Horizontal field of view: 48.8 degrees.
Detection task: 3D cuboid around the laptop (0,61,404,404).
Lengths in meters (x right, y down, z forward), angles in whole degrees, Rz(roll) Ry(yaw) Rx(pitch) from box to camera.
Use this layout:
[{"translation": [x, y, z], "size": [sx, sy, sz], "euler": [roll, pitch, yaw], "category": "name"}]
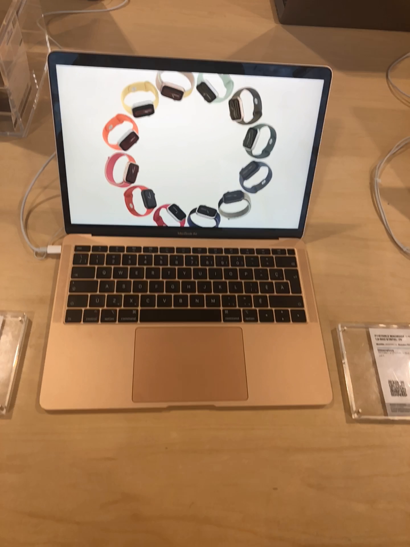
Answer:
[{"translation": [-0.013, -0.039, 0.461], "size": [0.289, 0.167, 0.298], "euler": [1, 58, -6], "category": "laptop"}]
